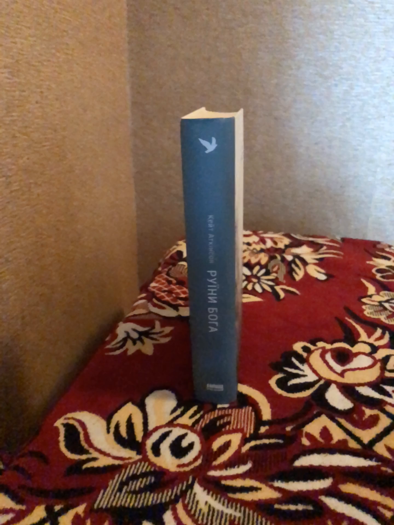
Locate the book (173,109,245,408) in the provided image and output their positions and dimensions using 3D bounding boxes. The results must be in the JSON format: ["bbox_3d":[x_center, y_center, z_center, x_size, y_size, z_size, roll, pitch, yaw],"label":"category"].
[{"bbox_3d":[0.019,-0.015,0.367,0.040,0.210,0.151,0,20,8],"label":"book"}]
